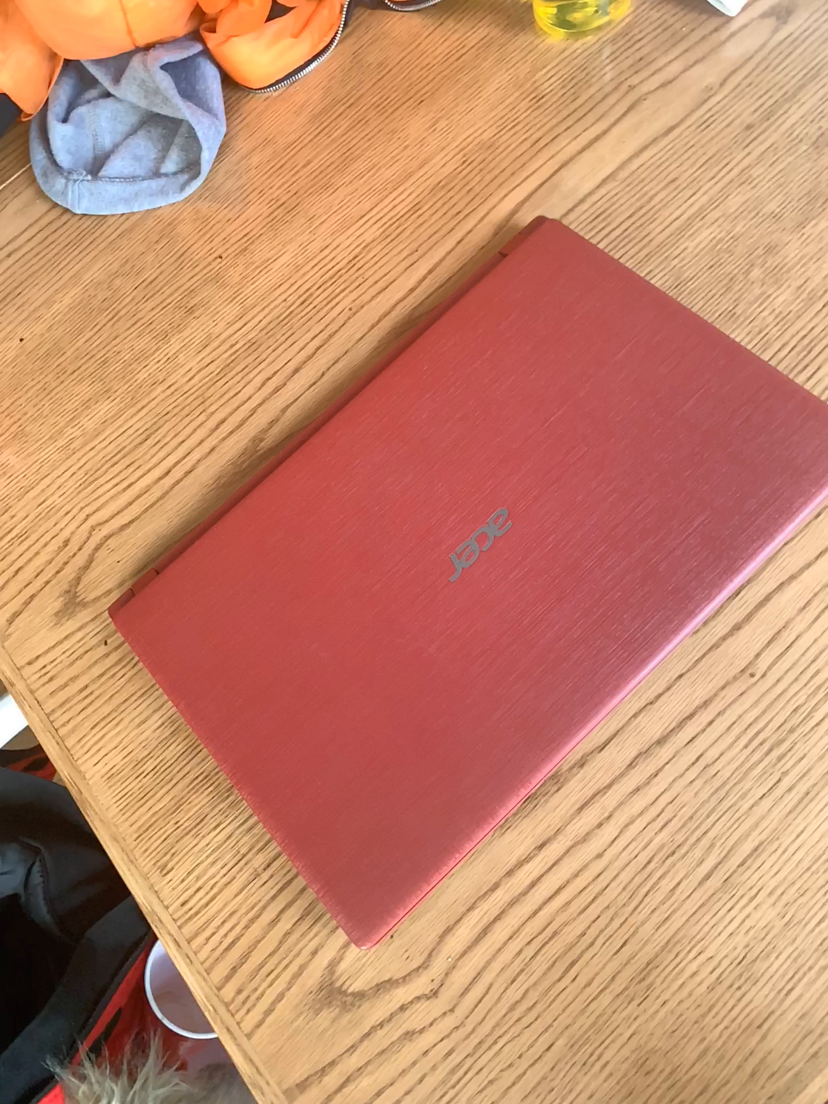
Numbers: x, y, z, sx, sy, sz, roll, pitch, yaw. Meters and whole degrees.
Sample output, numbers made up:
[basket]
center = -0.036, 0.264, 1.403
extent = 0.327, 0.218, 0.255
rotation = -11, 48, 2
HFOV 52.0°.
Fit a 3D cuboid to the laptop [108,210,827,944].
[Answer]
[laptop]
center = 0.030, -0.008, 0.475
extent = 0.362, 0.013, 0.236
rotation = -43, 68, -4
